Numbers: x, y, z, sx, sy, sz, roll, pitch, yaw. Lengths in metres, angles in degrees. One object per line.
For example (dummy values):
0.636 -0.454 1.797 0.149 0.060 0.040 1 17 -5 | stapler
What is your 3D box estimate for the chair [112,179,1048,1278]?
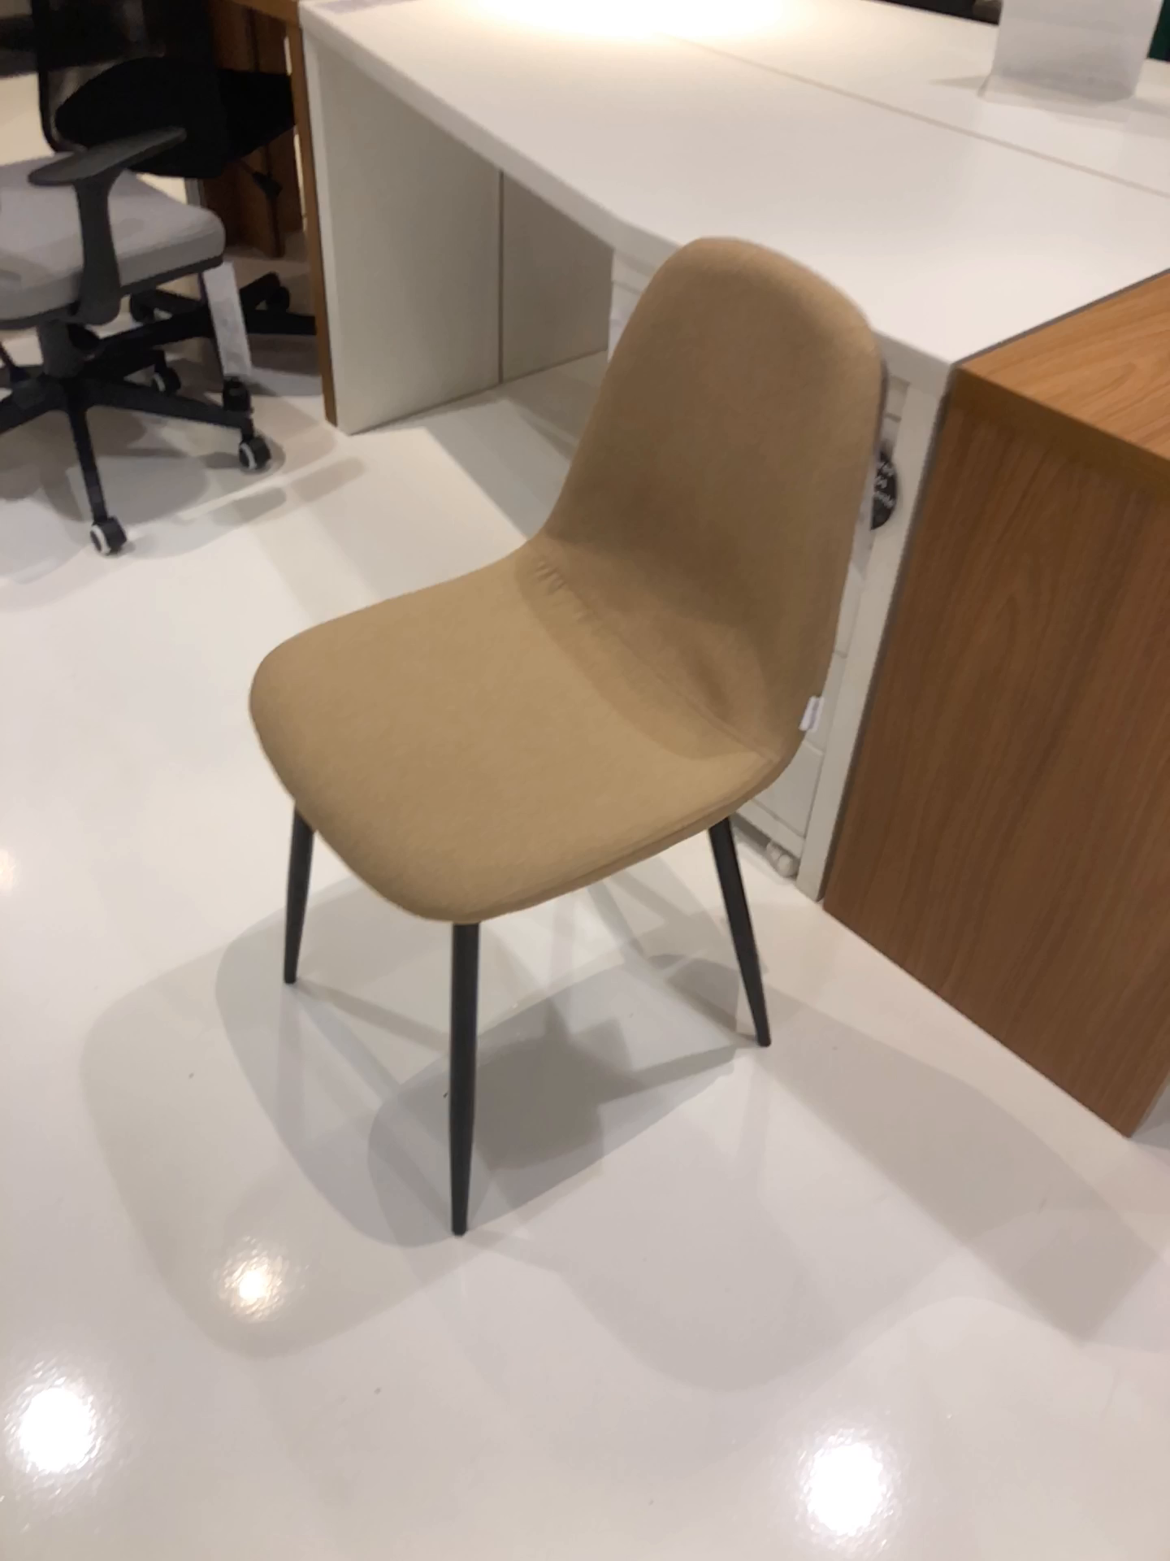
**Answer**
-0.031 -0.051 1.221 0.522 0.784 0.482 -23 48 -27 | chair
